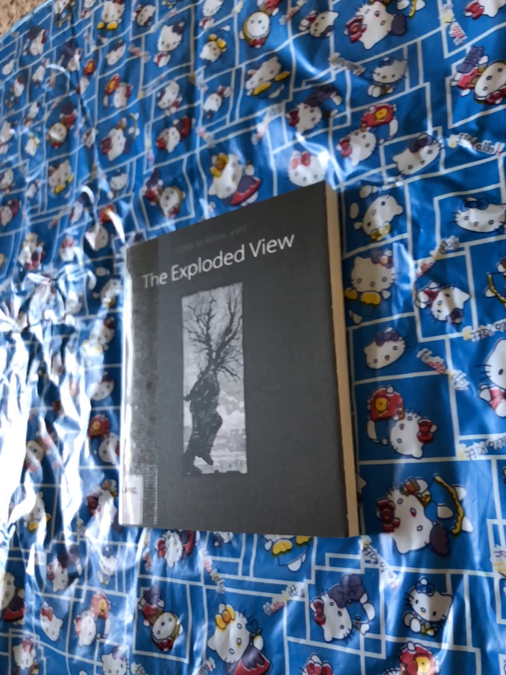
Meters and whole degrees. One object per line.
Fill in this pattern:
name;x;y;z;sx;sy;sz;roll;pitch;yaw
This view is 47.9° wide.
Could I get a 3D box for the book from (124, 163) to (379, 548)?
book;-0.010;0.013;0.296;0.141;0.020;0.170;-9;77;34
